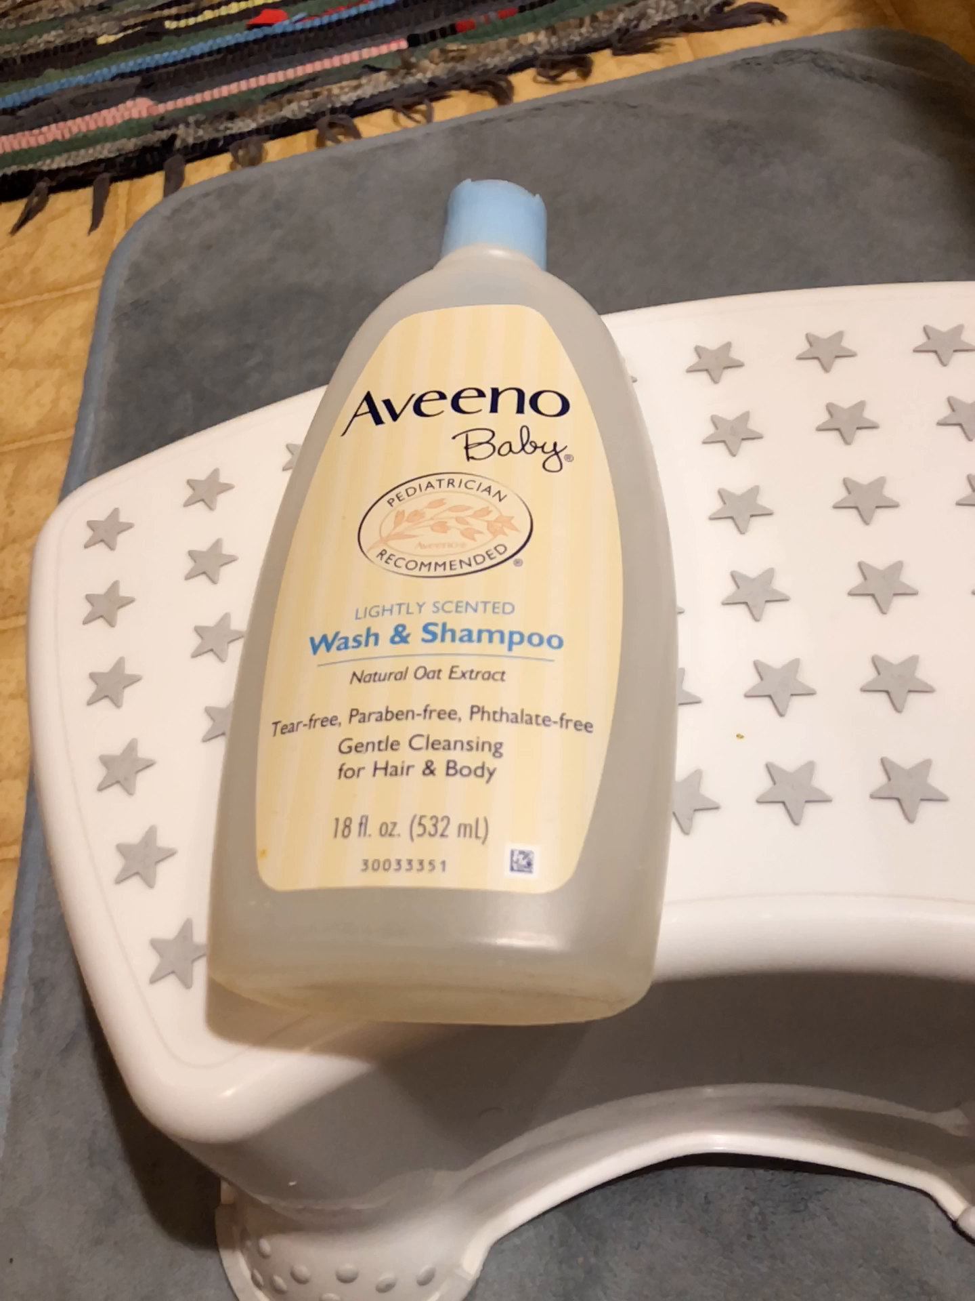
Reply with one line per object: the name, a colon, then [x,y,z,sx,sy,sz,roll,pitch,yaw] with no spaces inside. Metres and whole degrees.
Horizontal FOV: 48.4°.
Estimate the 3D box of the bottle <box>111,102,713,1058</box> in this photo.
bottle: [-0.002,-0.036,0.256,0.100,0.040,0.240,-2,57,11]
